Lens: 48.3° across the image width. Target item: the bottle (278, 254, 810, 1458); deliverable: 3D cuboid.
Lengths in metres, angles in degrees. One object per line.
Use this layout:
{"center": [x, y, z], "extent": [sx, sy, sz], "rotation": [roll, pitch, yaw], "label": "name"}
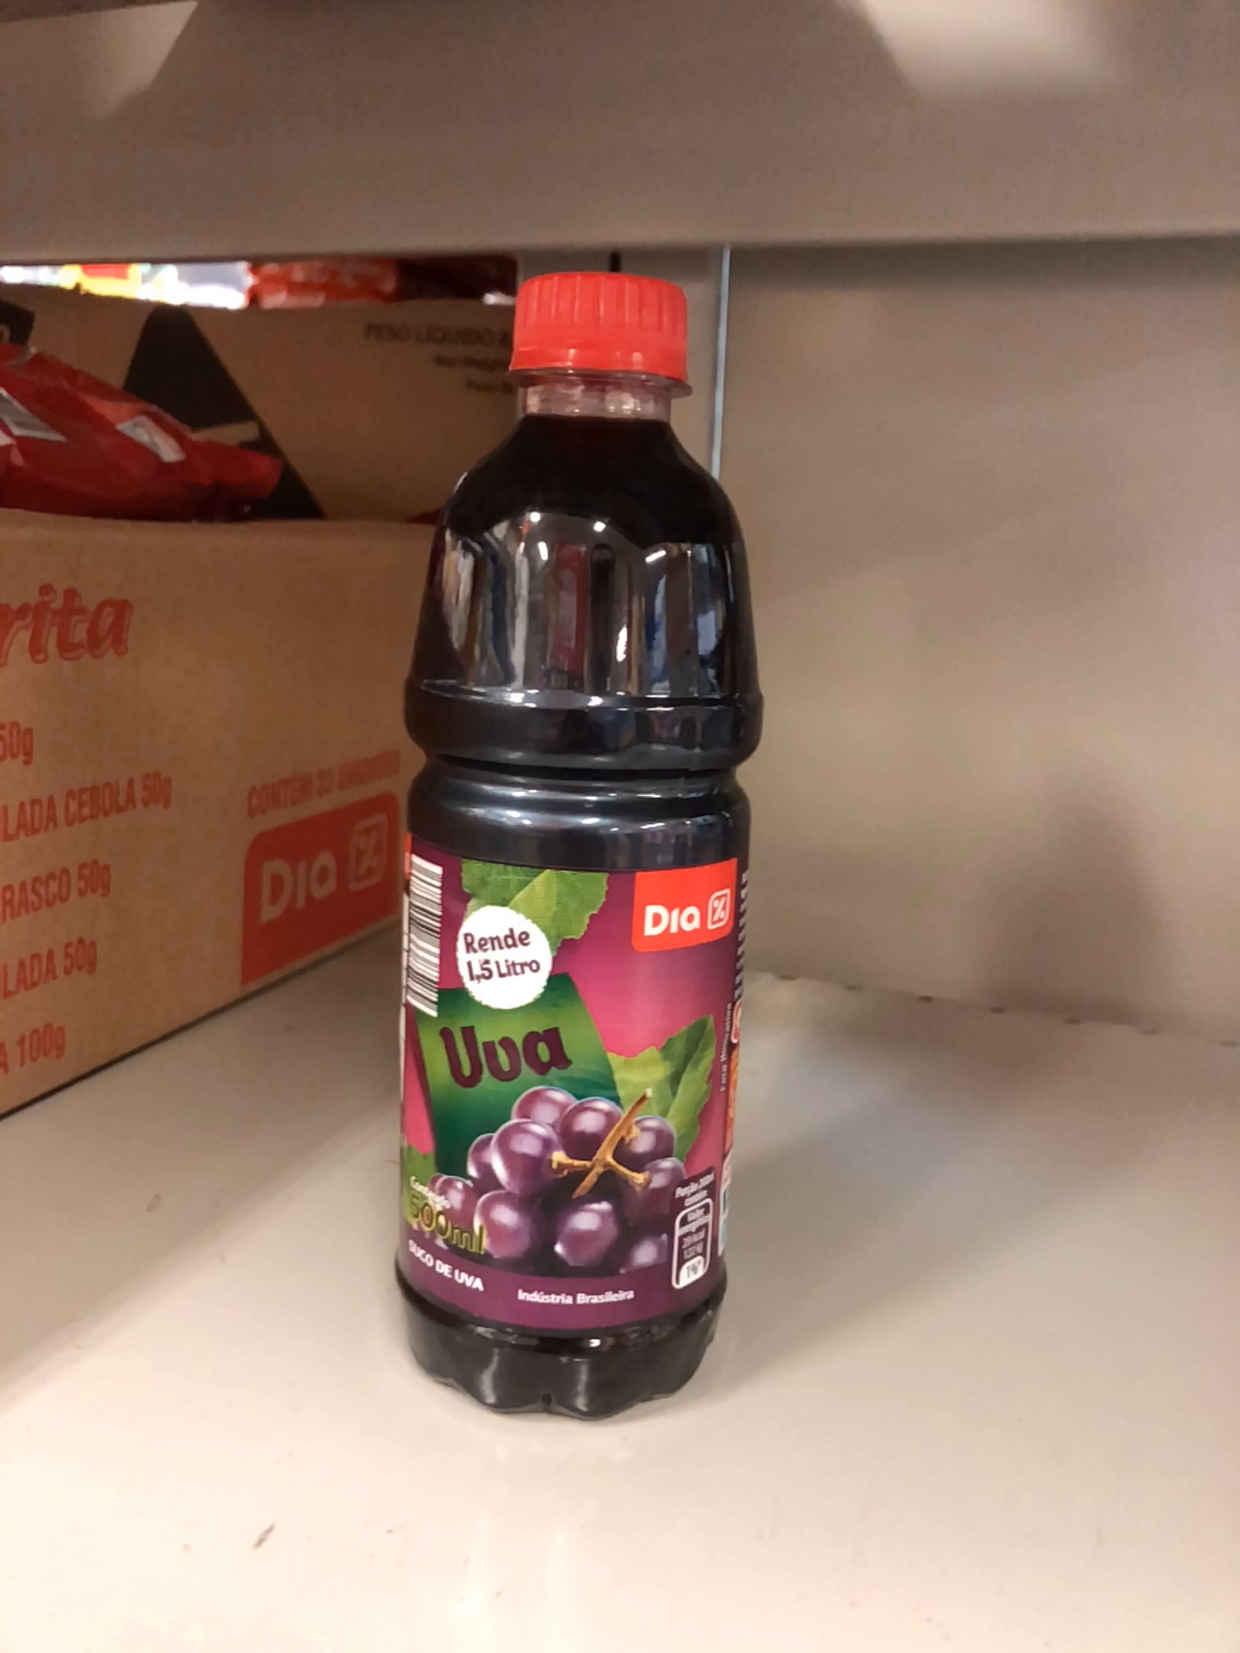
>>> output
{"center": [-0.011, 0.004, 0.261], "extent": [0.080, 0.199, 0.070], "rotation": [3, 13, 6], "label": "bottle"}
